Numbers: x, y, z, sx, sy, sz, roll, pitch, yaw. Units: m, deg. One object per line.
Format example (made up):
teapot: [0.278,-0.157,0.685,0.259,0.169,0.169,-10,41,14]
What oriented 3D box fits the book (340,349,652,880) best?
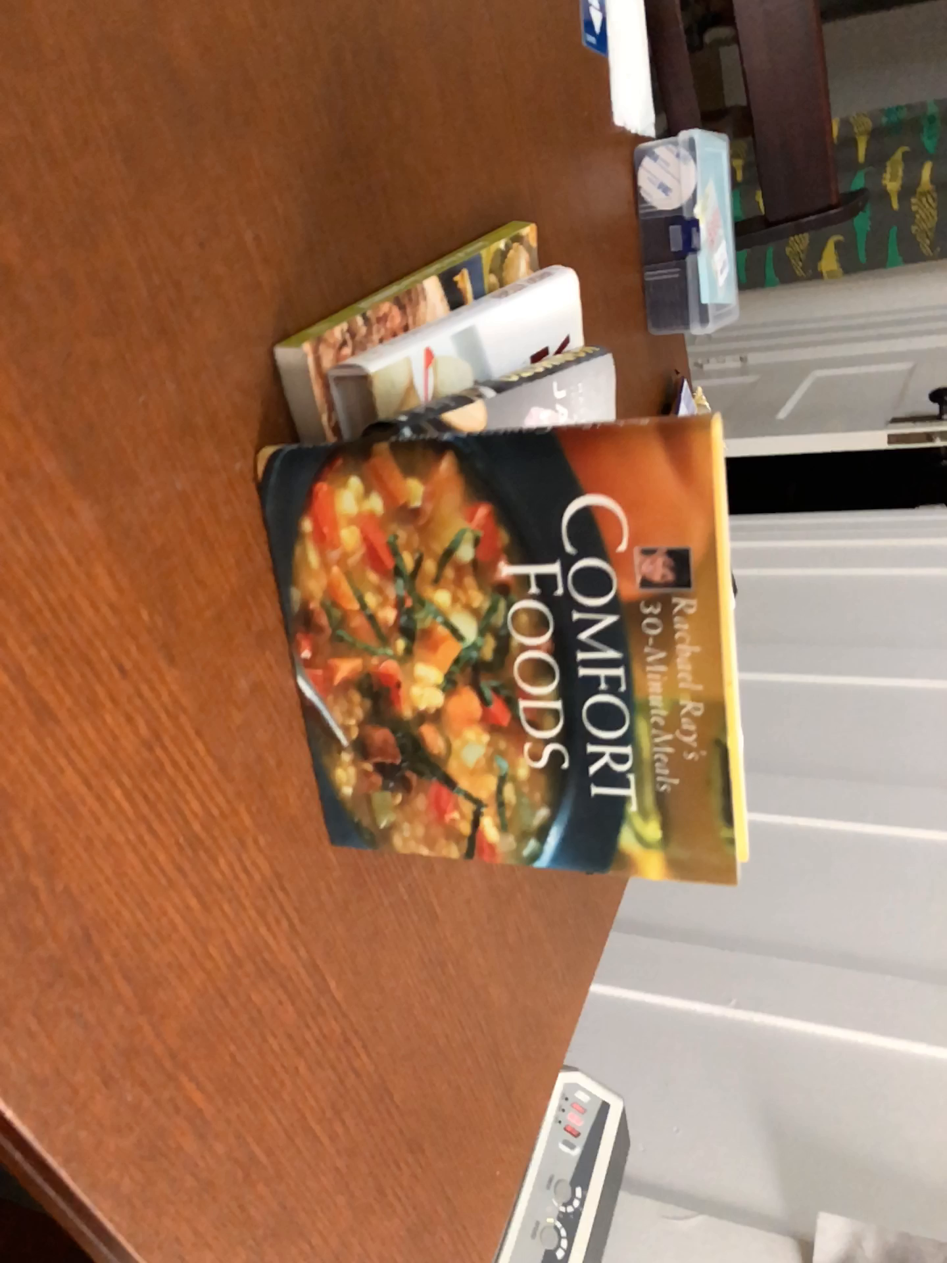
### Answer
book: [0.035,-0.030,0.599,0.281,0.030,0.220,-39,125,-55]

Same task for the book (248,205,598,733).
book: [-0.005,-0.111,0.613,0.281,0.030,0.220,-48,132,-50]

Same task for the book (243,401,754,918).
book: [0.012,0.013,0.458,0.030,0.209,0.210,-39,127,-59]

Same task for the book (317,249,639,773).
book: [0.026,-0.087,0.612,0.281,0.030,0.220,-45,130,-51]
